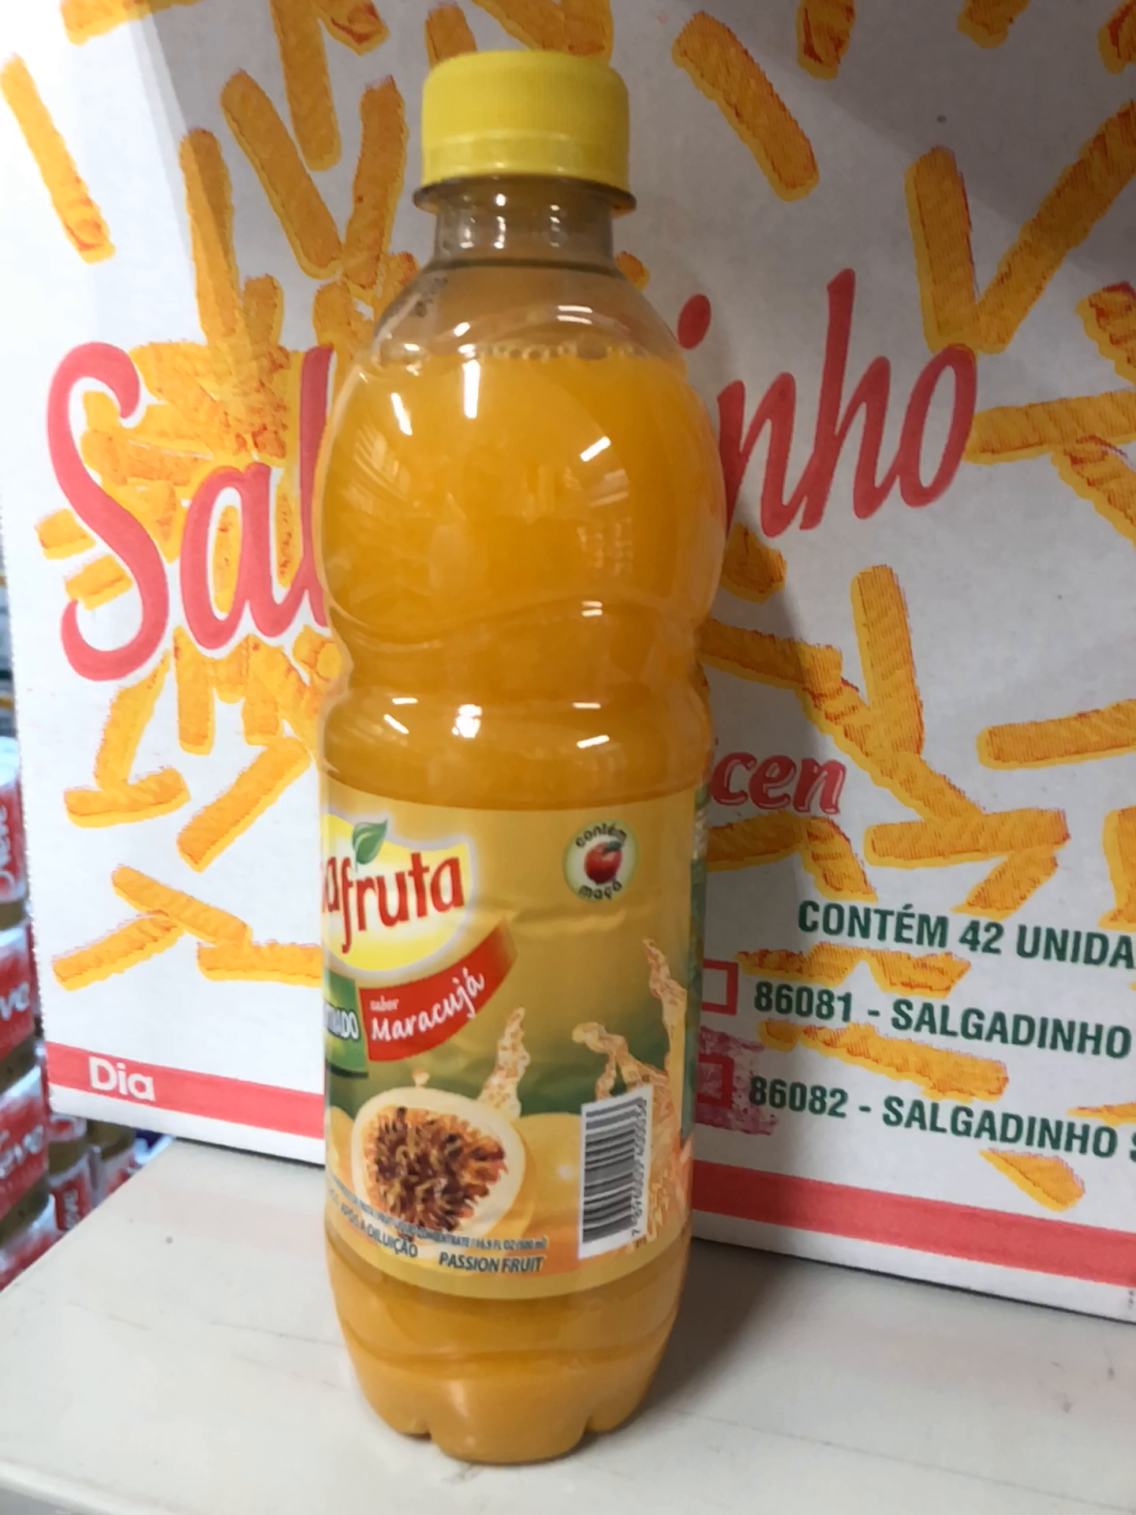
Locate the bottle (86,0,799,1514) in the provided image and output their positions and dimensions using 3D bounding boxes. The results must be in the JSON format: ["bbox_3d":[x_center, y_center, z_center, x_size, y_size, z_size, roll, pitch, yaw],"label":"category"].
[{"bbox_3d":[-0.015,0.002,0.191,0.070,0.199,0.060,10,18,31],"label":"bottle"}]
